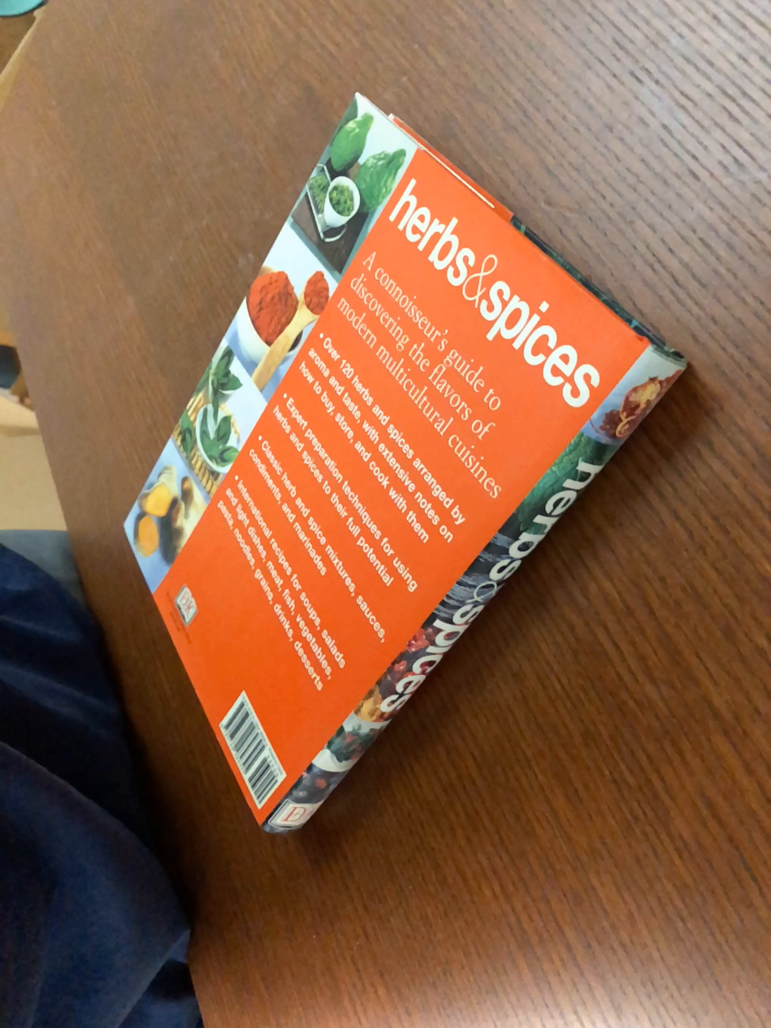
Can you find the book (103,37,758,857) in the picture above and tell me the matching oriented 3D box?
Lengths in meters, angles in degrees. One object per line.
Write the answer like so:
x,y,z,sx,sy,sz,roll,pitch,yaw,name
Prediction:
-0.021,-0.025,0.367,0.270,0.040,0.211,-53,52,27,book
